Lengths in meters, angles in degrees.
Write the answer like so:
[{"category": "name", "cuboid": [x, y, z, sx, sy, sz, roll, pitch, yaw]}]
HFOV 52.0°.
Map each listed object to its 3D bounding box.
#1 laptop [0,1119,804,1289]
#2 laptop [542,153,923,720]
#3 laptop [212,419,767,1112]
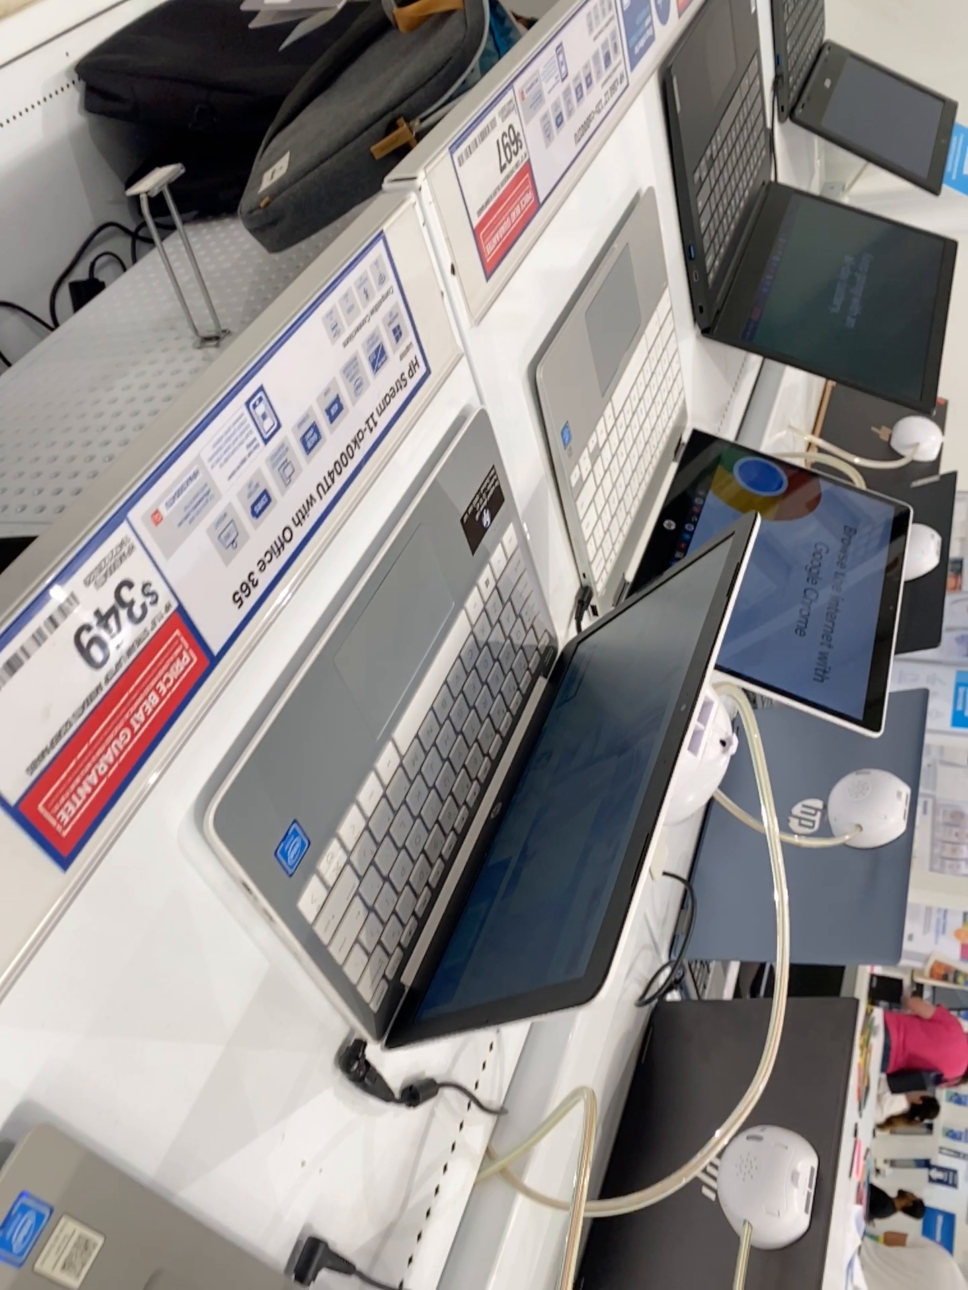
[{"category": "laptop", "cuboid": [-0.061, 0.372, 0.257, 0.327, 0.212, 0.276, -64, 147, -37]}, {"category": "laptop", "cuboid": [0.204, -0.146, 0.734, 0.258, 0.189, 0.298, -63, 147, -37]}, {"category": "laptop", "cuboid": [0.035, 0.042, 0.494, 0.277, 0.139, 0.181, -63, 145, -39]}]
